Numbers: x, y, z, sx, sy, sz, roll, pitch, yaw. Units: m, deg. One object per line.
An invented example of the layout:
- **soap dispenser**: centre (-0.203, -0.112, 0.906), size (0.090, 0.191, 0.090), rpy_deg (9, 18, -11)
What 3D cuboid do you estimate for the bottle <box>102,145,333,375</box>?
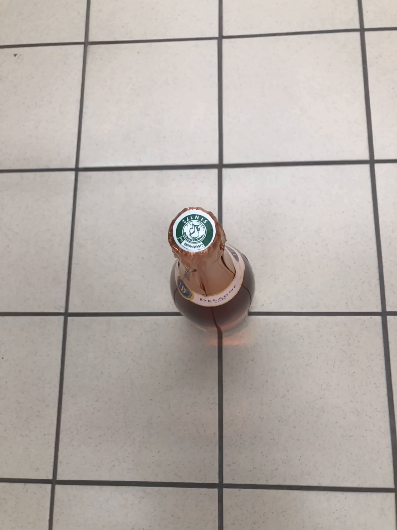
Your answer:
- **bottle**: centre (0.019, 0.025, 0.389), size (0.090, 0.290, 0.100), rpy_deg (-34, 77, -4)
